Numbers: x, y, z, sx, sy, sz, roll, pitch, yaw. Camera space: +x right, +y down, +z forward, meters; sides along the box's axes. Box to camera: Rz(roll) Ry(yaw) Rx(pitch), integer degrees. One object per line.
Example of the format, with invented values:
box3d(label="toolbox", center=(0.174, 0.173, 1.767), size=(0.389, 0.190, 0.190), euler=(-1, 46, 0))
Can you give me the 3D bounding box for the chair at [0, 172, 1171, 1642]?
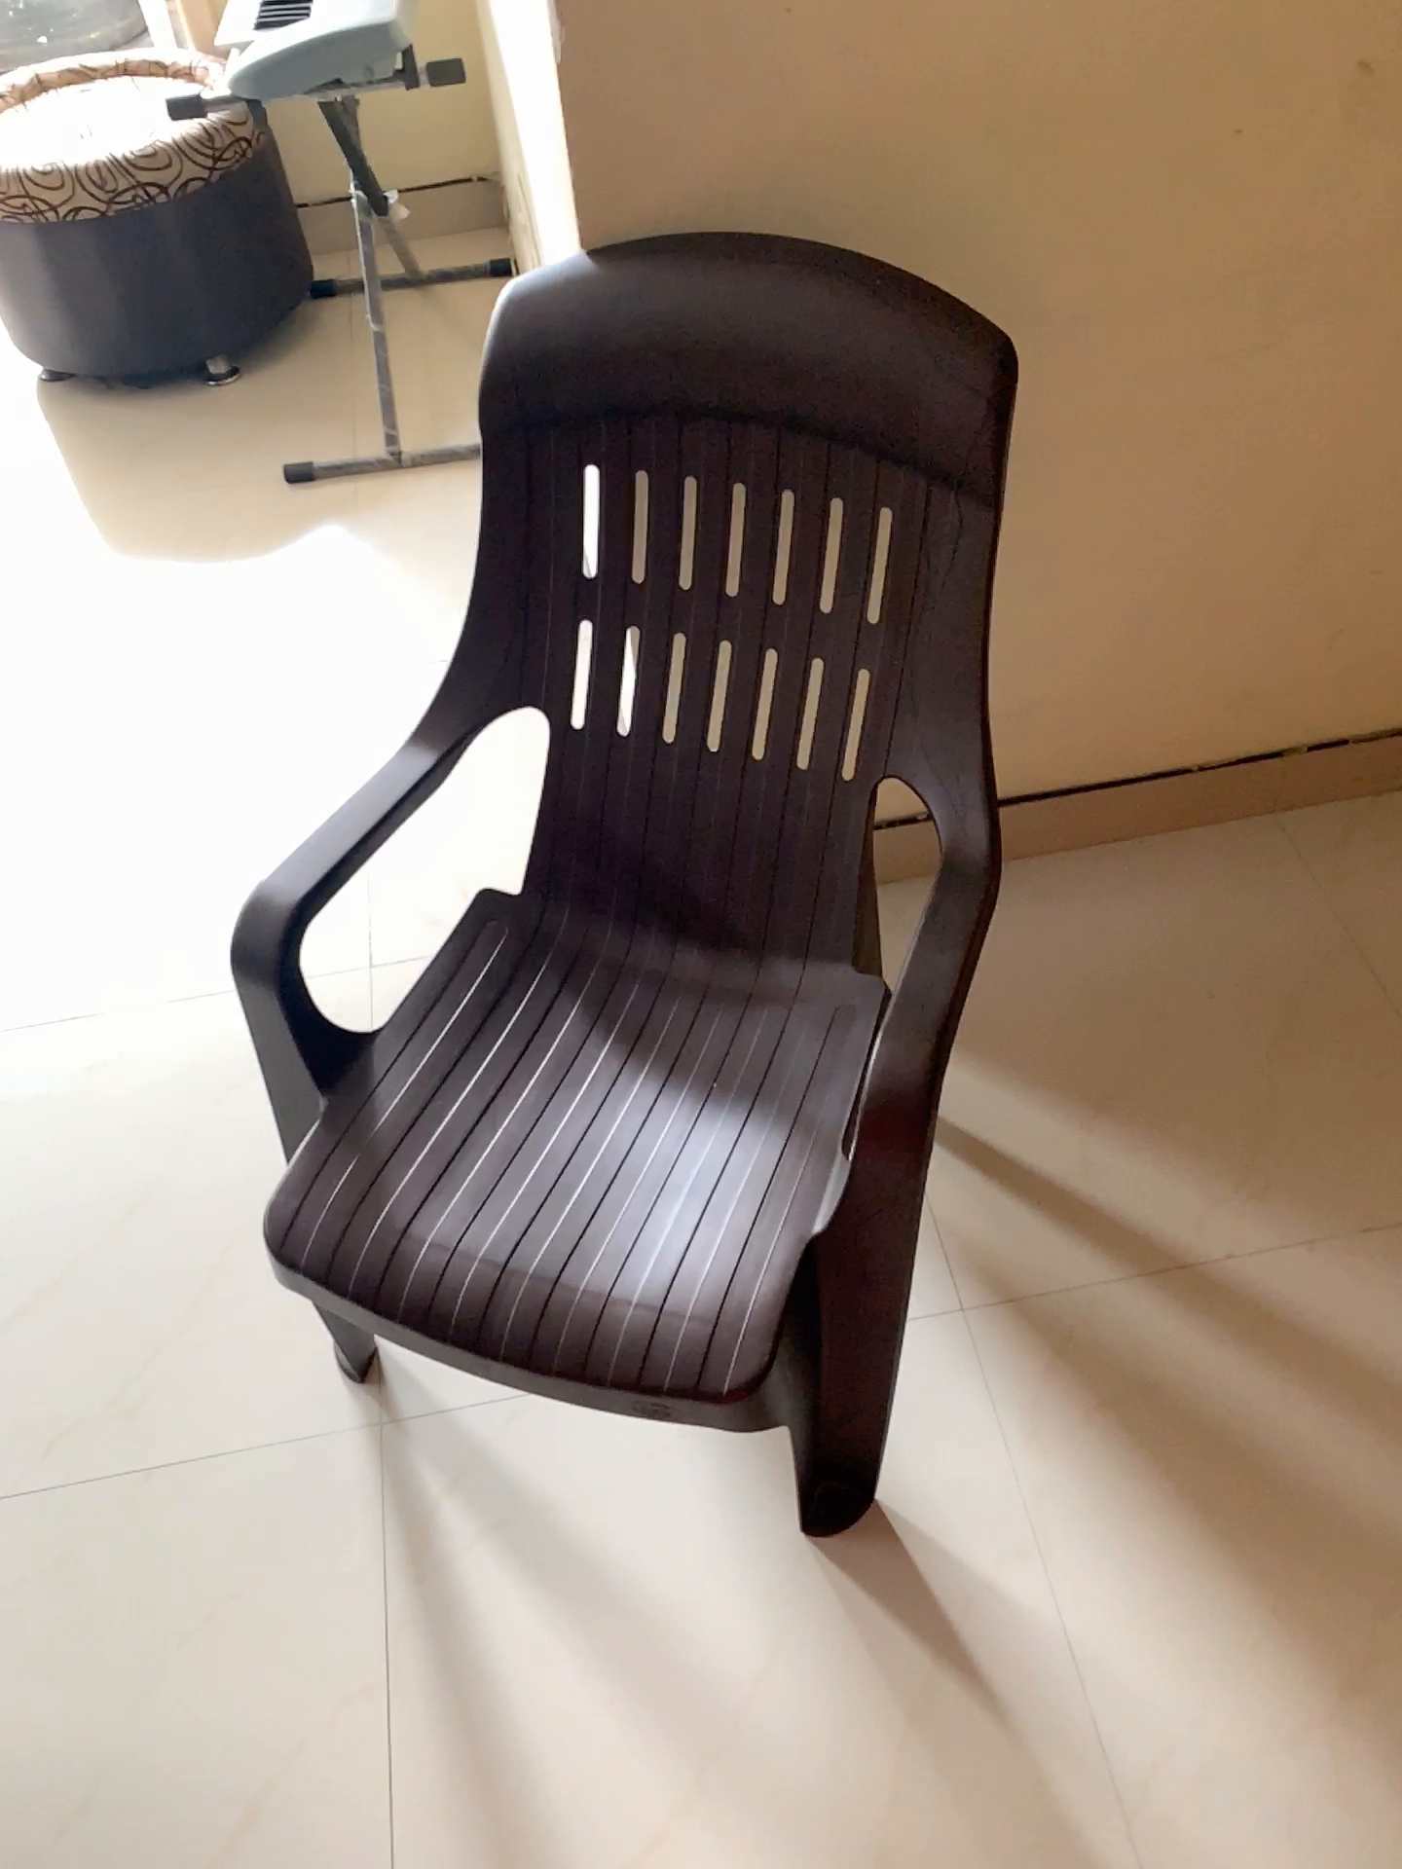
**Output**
box3d(label="chair", center=(-0.038, 0.028, 1.262), size=(0.601, 1.032, 0.664), euler=(14, 51, 17))
